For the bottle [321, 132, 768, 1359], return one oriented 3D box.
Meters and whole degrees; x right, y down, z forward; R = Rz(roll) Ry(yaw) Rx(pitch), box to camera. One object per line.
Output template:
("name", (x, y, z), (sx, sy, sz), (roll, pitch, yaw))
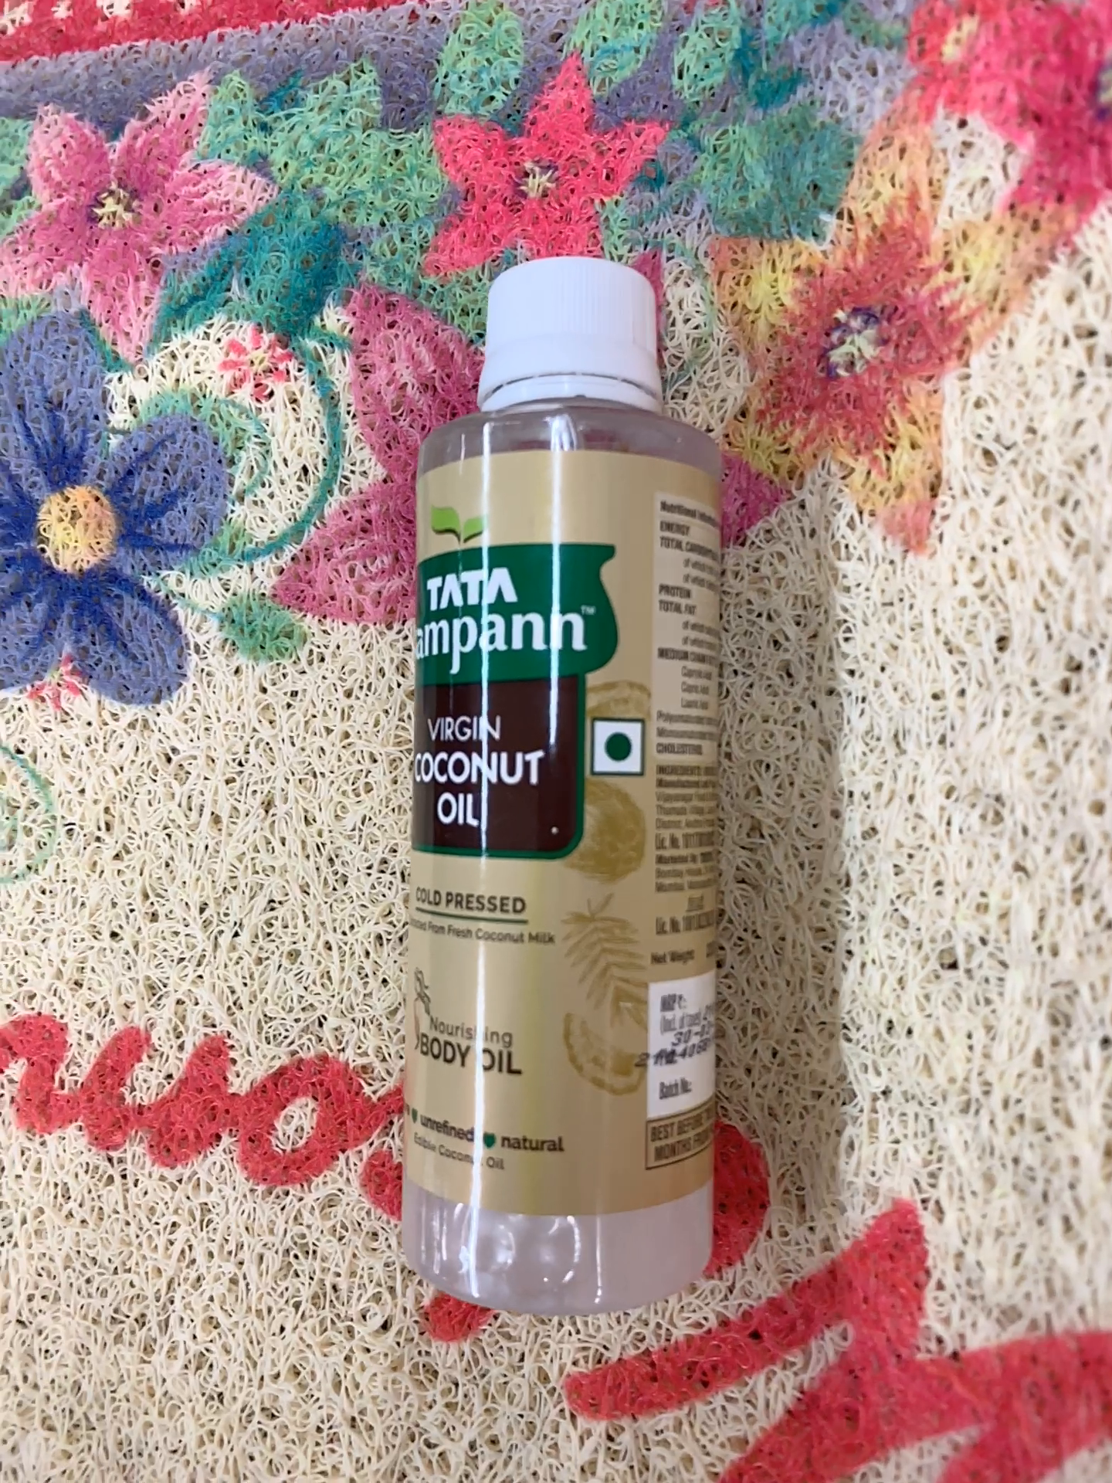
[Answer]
("bottle", (-0.001, 0.000, 0.157), (0.050, 0.030, 0.140), (1, 89, 32))
